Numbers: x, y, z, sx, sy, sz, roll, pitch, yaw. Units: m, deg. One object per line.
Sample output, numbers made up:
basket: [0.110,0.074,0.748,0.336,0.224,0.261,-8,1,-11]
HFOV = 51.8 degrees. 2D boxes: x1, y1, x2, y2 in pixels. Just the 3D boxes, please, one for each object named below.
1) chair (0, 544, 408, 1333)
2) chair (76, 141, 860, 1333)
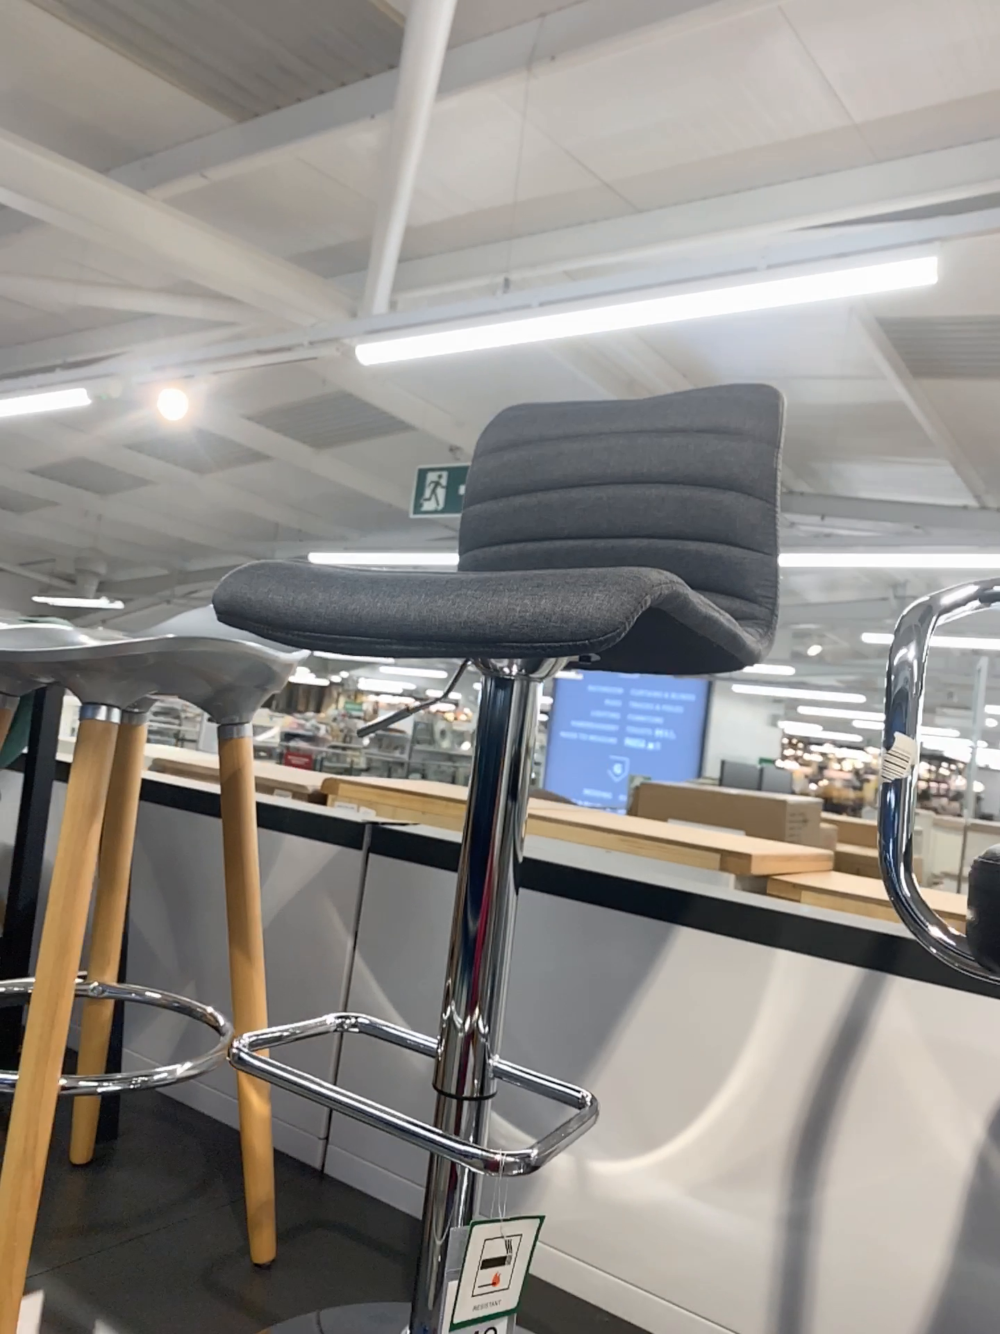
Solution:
chair: [-0.463,0.276,1.170,0.445,0.742,0.451,3,-7,31]
chair: [0.020,0.160,0.971,0.445,1.033,0.451,3,-7,31]
